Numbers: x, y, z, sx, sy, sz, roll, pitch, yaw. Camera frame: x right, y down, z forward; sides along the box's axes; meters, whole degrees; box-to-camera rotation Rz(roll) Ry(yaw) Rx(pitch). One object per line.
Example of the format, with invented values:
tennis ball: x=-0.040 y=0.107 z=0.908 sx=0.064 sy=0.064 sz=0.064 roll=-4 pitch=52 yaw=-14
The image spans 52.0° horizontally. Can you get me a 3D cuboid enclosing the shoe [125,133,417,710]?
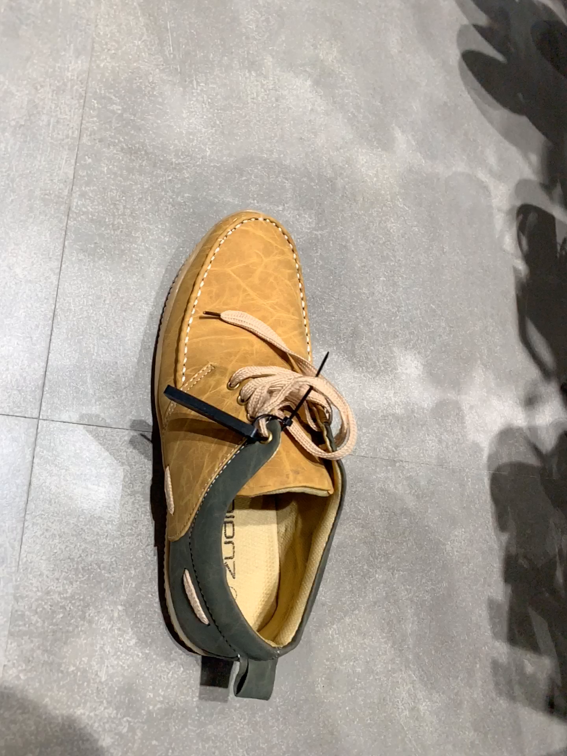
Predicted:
shoe: x=-0.012 y=0.023 z=0.342 sx=0.112 sy=0.117 sz=0.267 roll=9 pitch=73 yaw=-31
